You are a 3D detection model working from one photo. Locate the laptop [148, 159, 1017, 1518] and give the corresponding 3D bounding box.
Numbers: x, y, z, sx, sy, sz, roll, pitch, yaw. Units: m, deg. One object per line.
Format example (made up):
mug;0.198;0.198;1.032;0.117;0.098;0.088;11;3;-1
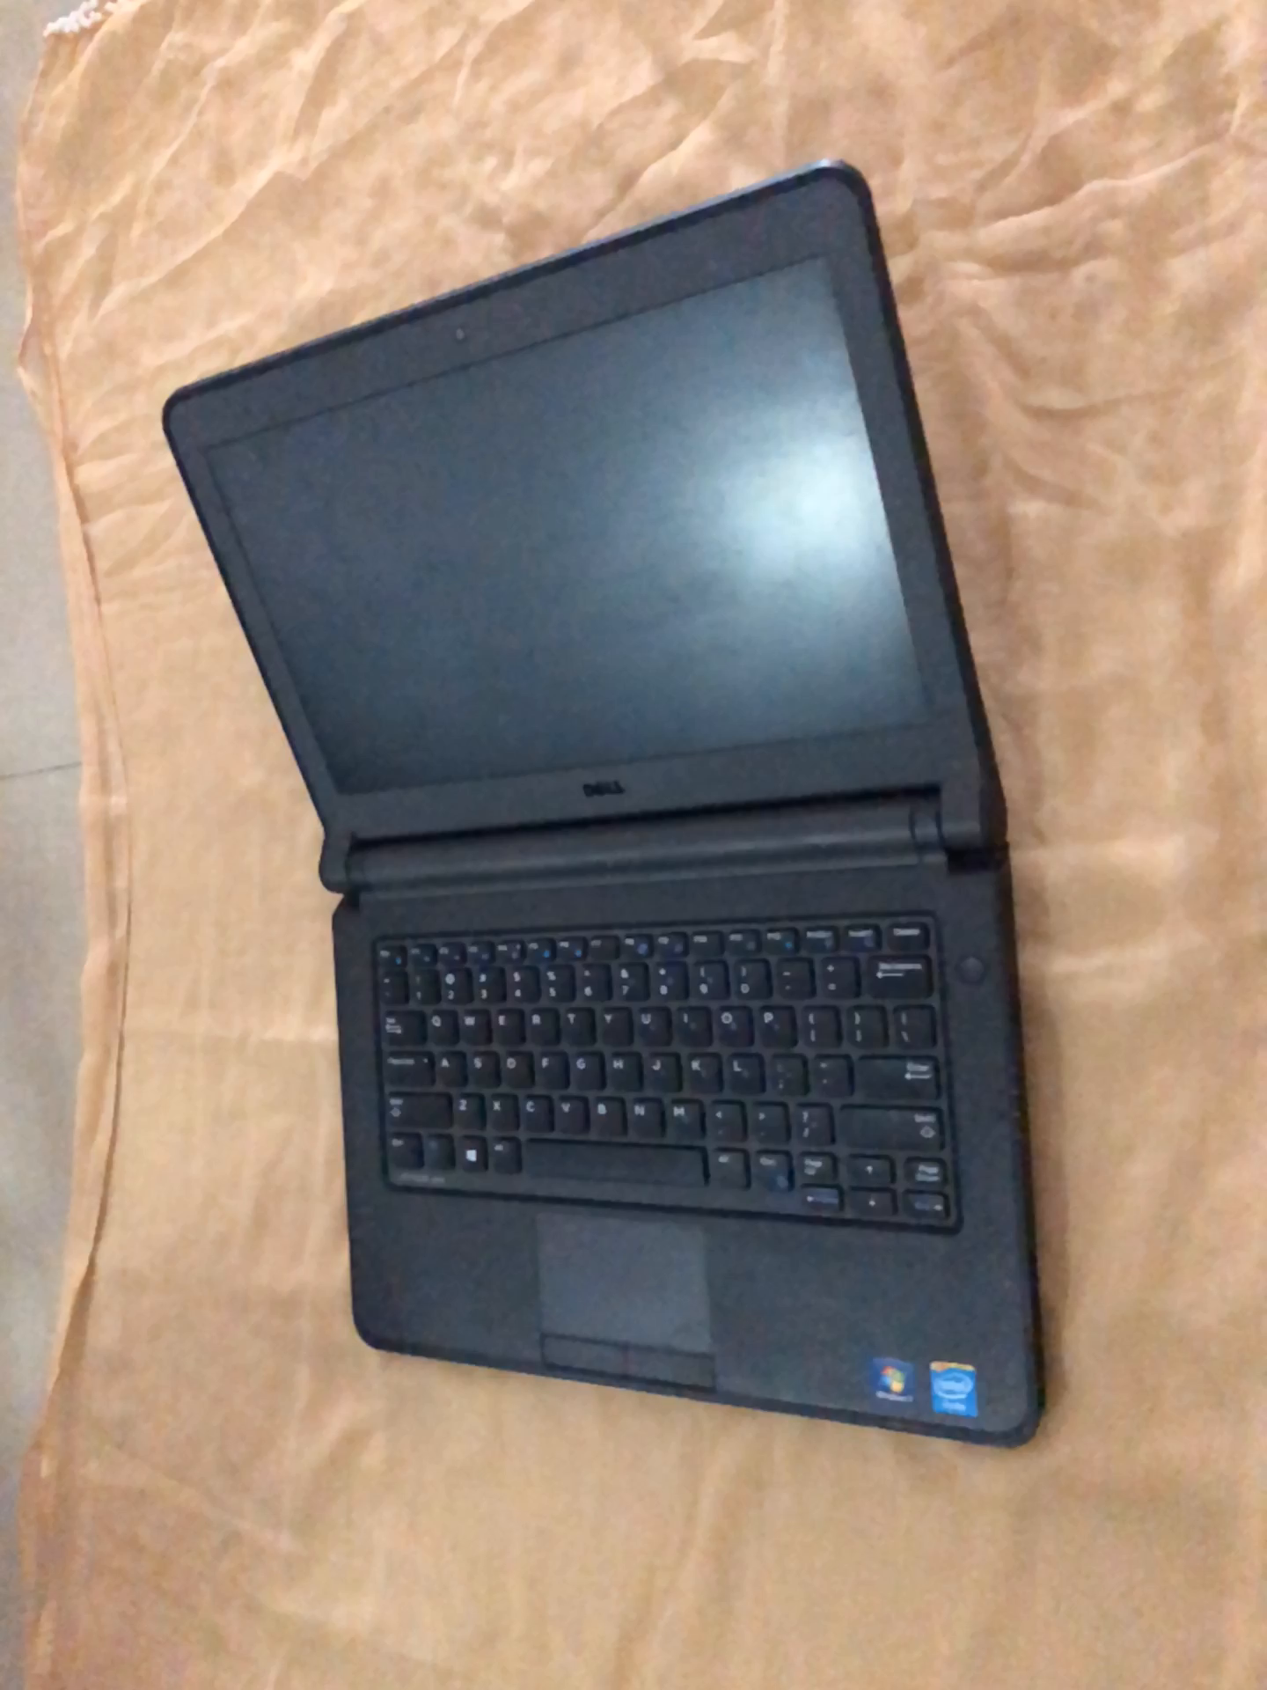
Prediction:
laptop;-0.035;0.008;0.537;0.309;0.092;0.409;-5;87;31
